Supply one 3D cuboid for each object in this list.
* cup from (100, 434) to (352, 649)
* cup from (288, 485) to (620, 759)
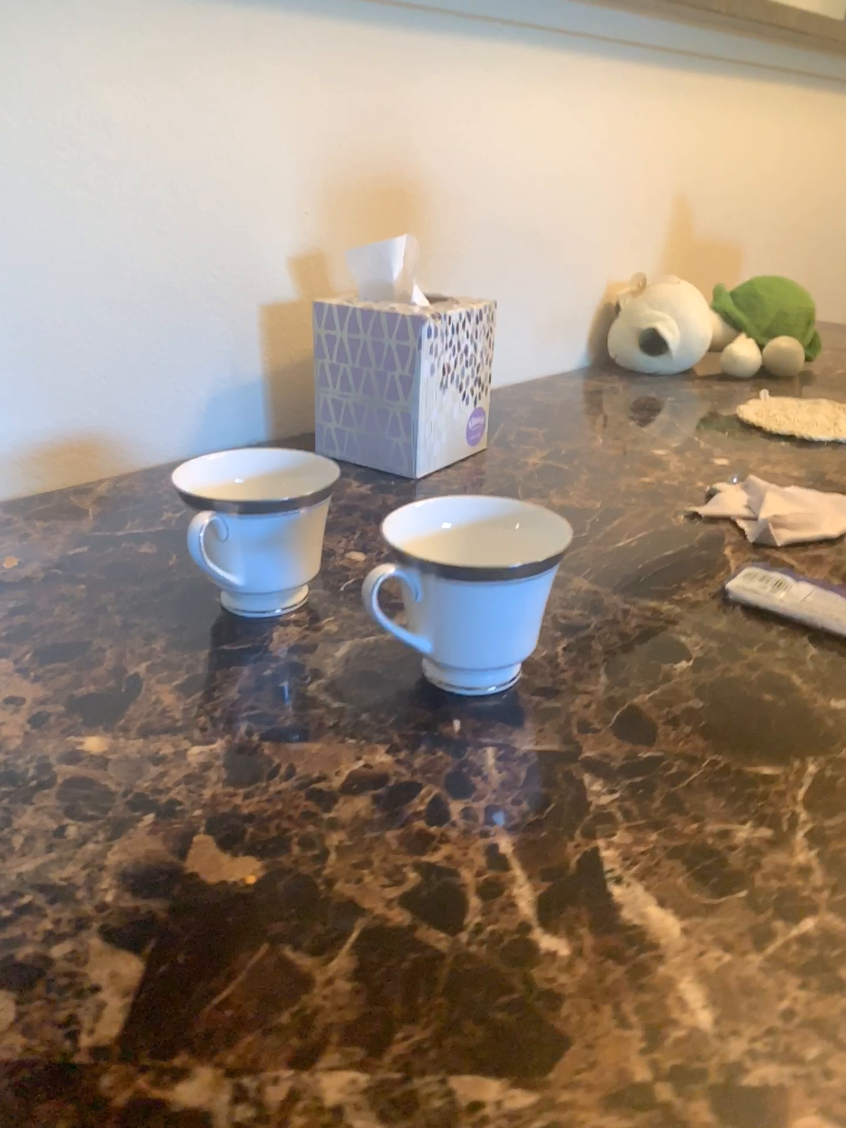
[{"bbox_3d":[-0.096,-0.017,0.460,0.090,0.070,0.111,6,25,10],"label":"cup"},{"bbox_3d":[0.013,0.019,0.405,0.120,0.070,0.090,-14,28,-30],"label":"cup"}]
